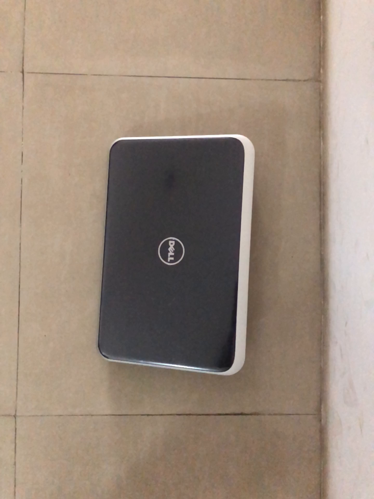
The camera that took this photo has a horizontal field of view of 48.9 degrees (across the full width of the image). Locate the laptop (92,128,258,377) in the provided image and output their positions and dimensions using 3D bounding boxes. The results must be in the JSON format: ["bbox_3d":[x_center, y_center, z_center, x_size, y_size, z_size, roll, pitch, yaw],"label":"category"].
[{"bbox_3d":[-0.020,0.006,0.661,0.234,0.080,0.360,3,91,0],"label":"laptop"}]
